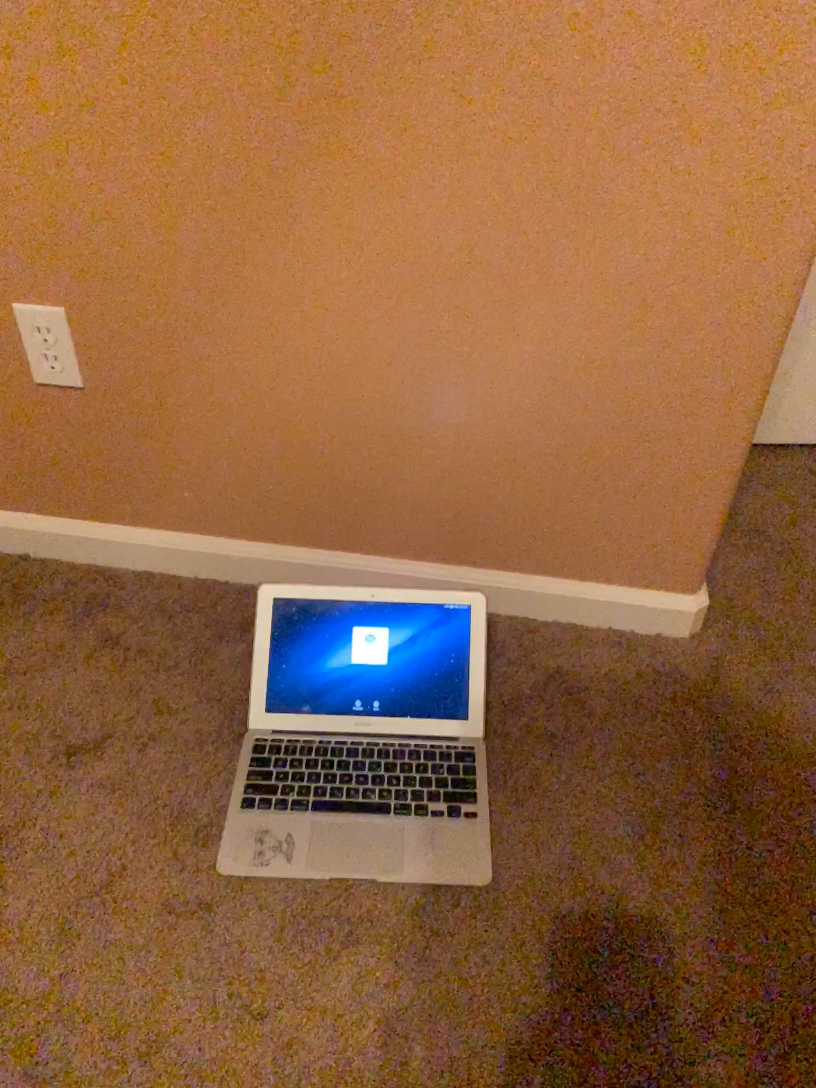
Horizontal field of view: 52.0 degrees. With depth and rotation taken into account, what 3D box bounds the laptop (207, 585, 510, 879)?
[{"bbox_3d":[-0.046,0.206,0.988,0.298,0.116,0.326,2,39,0],"label":"laptop"}]
